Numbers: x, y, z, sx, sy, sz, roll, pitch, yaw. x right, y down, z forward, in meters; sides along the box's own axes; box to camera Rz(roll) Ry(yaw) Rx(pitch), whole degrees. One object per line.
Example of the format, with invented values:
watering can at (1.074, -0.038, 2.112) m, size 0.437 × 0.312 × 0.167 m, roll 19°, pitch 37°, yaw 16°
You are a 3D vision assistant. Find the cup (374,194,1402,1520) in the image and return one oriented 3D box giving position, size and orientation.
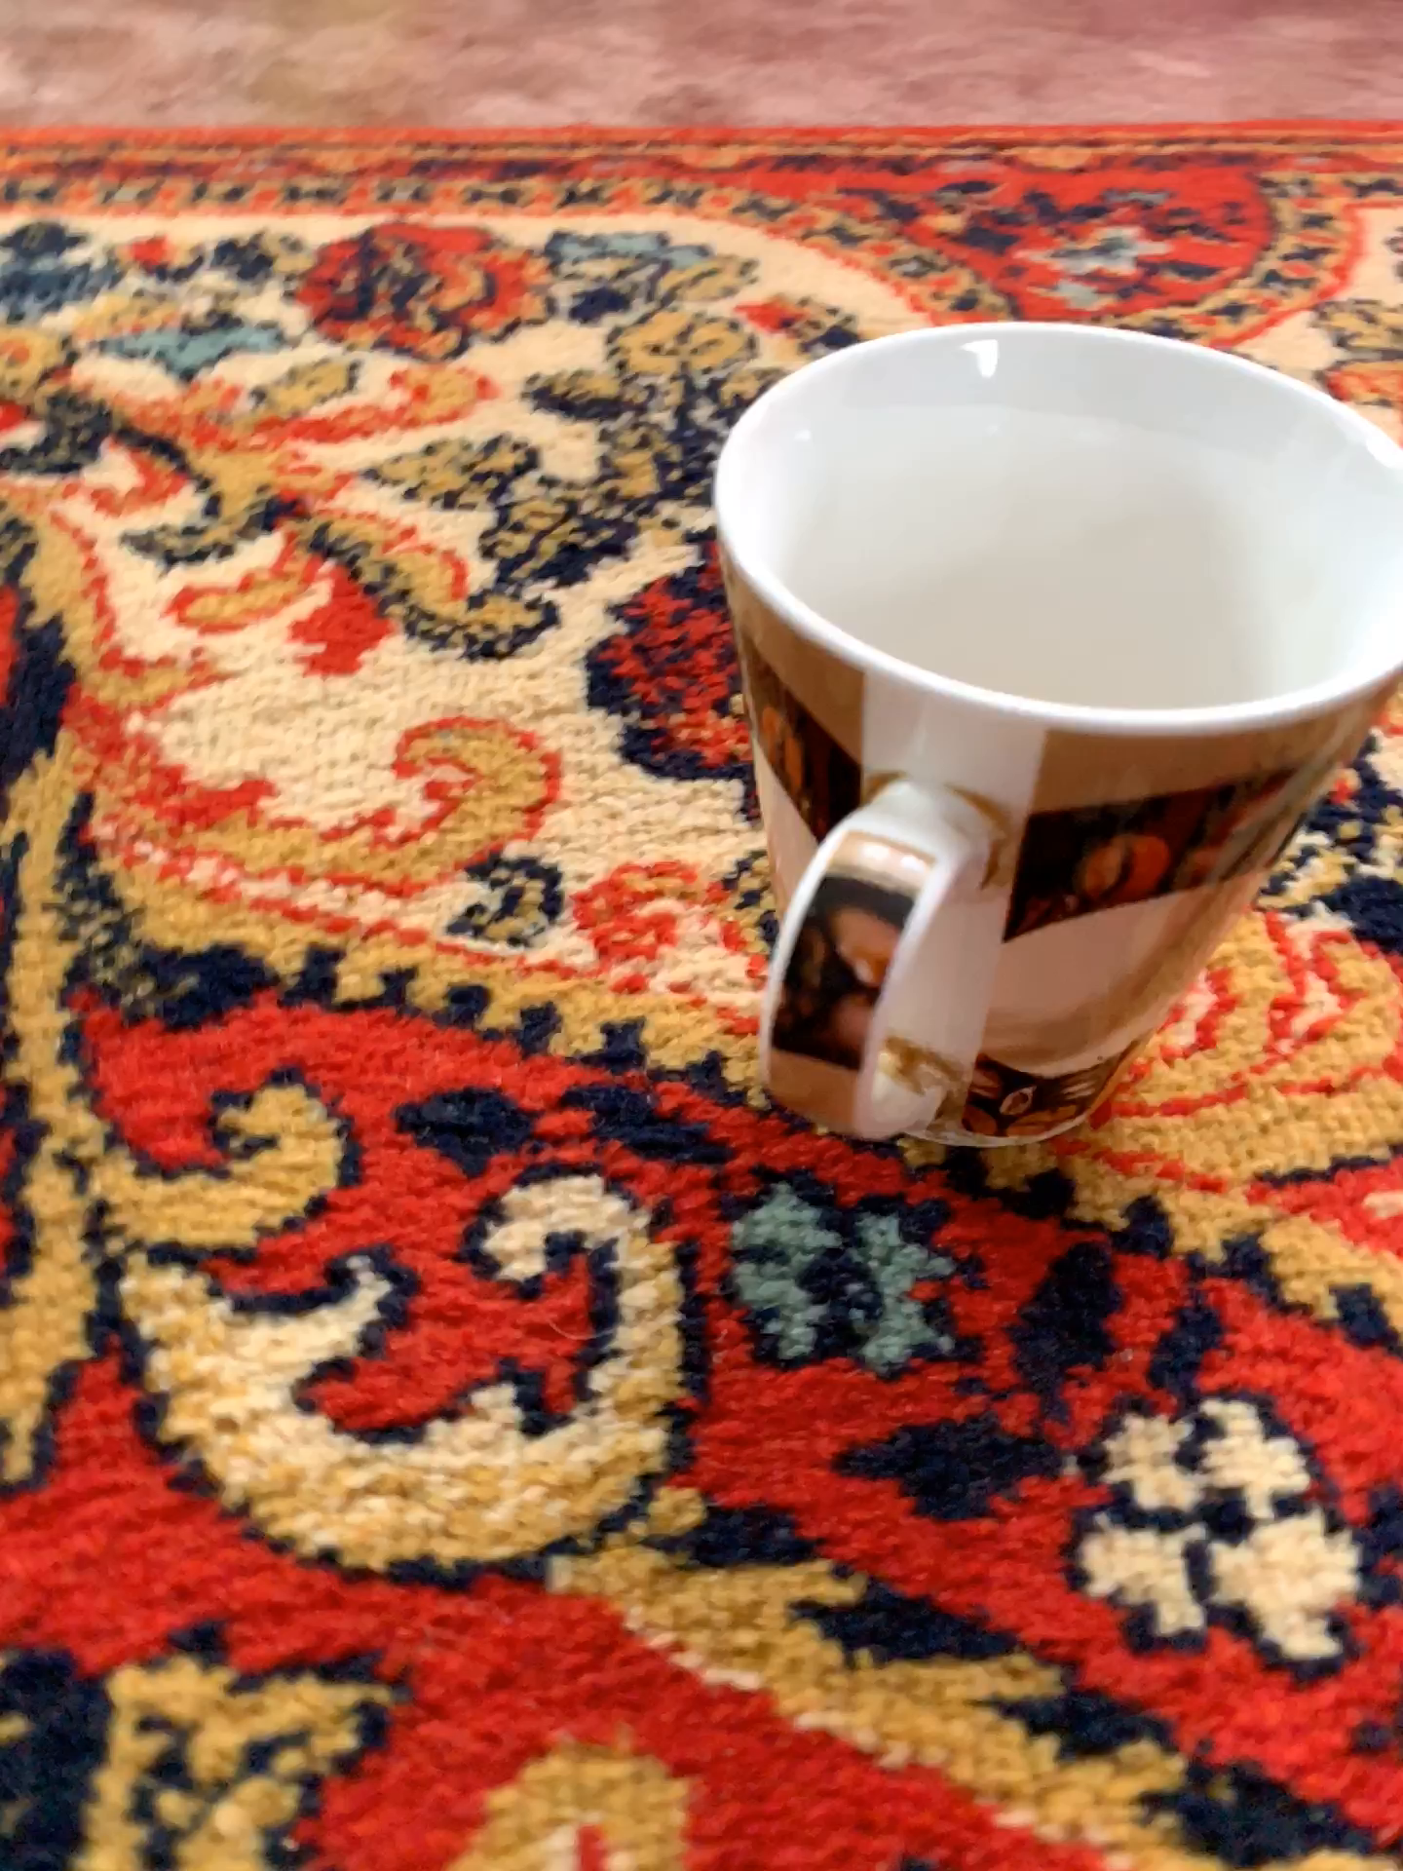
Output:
cup at (0.036, -0.018, 0.166) m, size 0.080 × 0.079 × 0.111 m, roll 24°, pitch 50°, yaw 21°
